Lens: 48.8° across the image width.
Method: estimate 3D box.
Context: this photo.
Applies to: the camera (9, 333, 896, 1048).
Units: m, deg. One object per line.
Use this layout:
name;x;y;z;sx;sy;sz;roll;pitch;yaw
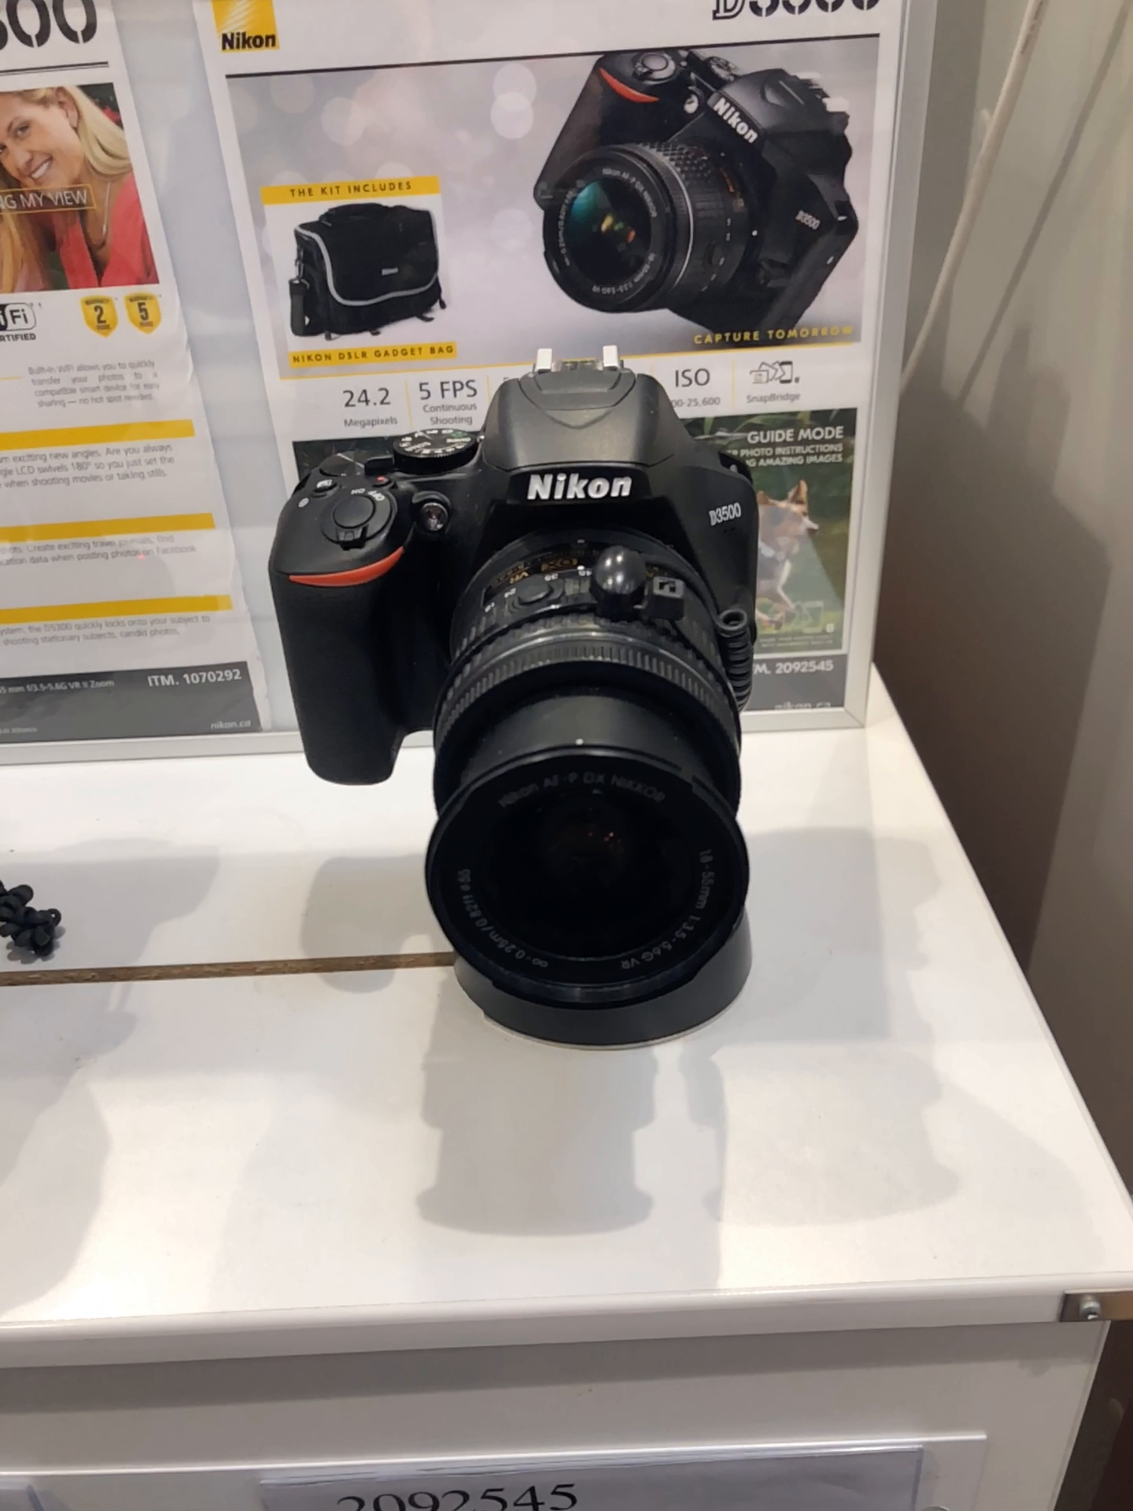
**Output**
camera;-0.016;-0.024;0.266;0.130;0.089;0.141;-2;32;1
